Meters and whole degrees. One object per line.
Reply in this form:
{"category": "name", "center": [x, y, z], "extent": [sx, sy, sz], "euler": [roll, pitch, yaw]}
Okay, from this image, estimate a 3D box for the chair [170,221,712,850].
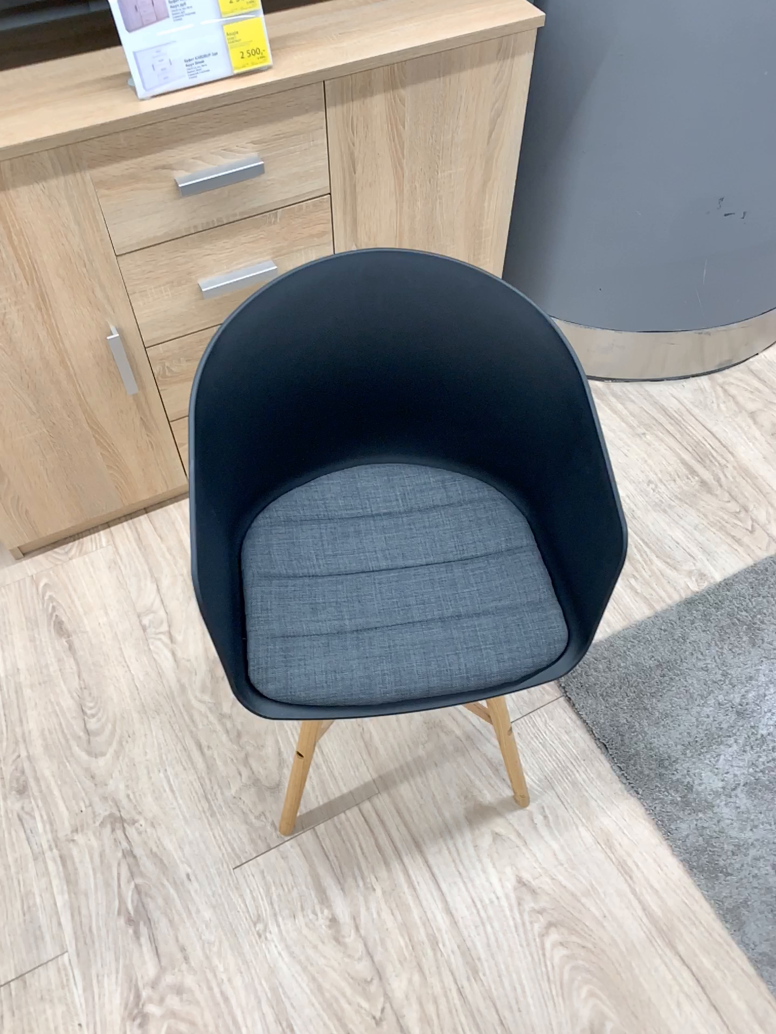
{"category": "chair", "center": [0.016, 0.081, 1.208], "extent": [0.510, 0.787, 0.552], "euler": [-7, 54, -5]}
